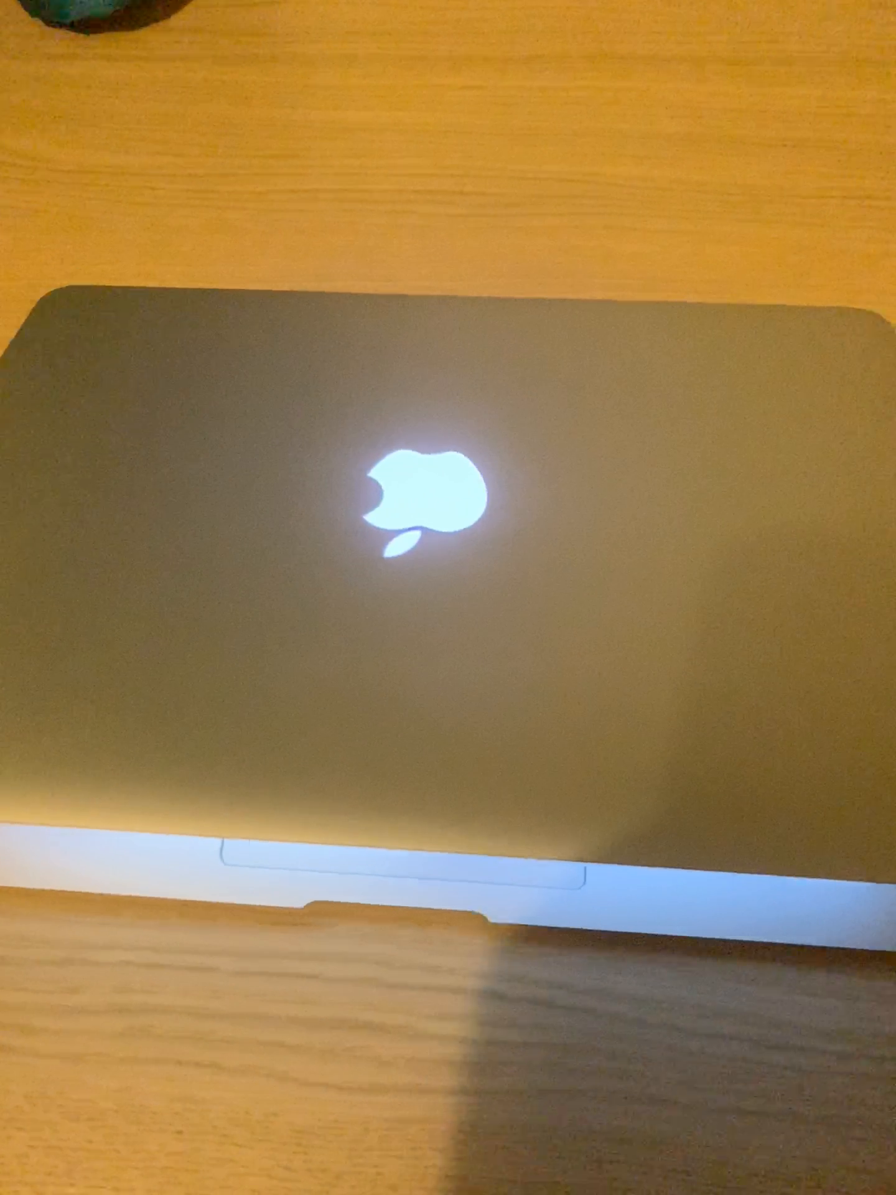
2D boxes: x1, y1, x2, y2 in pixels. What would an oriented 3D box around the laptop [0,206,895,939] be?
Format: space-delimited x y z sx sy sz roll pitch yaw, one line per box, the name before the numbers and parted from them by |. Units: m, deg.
laptop | -0.007 -0.025 0.285 0.320 0.048 0.218 3 61 5
